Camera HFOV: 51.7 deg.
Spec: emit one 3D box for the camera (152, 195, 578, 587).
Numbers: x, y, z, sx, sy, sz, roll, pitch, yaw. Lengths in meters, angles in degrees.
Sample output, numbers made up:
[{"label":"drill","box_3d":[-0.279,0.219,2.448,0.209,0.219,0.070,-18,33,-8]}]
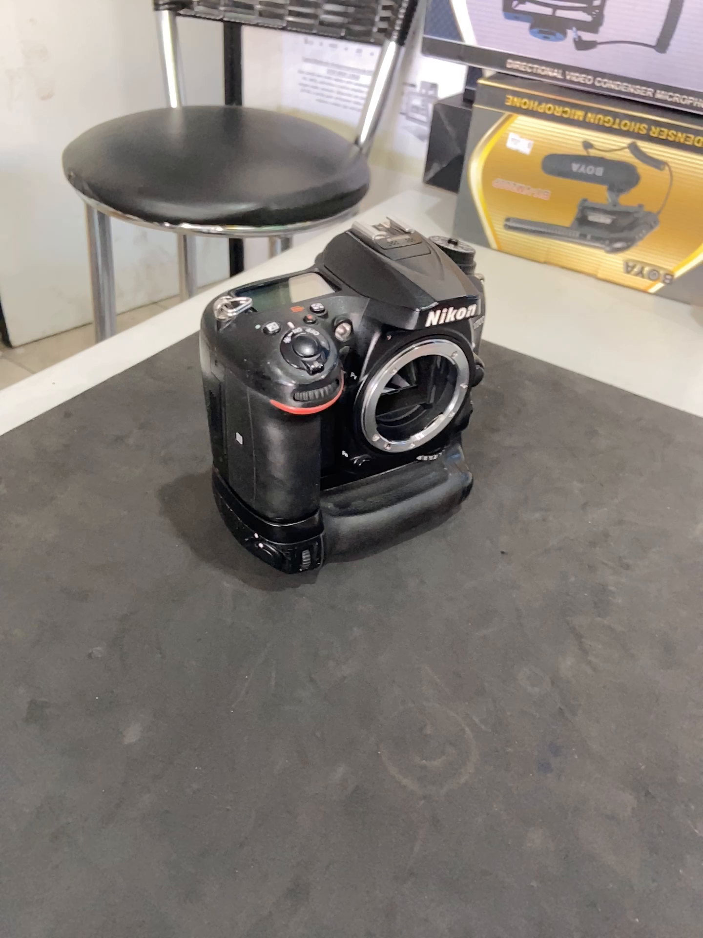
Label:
[{"label":"camera","box_3d":[0.002,-0.043,0.326,0.140,0.109,0.100,-19,44,-27]}]
